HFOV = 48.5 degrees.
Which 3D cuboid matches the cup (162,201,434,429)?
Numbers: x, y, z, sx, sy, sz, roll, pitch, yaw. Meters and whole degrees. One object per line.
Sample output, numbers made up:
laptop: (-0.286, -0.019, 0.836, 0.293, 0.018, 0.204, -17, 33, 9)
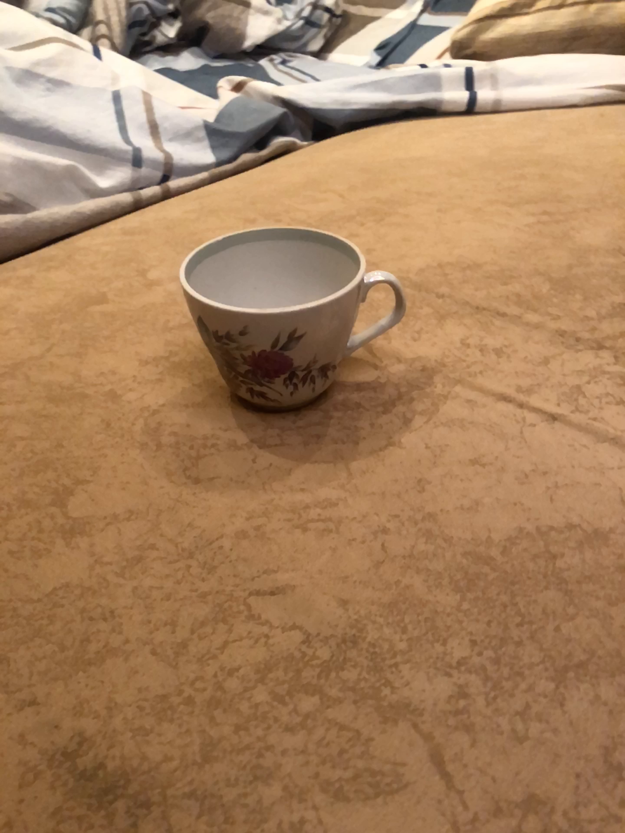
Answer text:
cup: (-0.011, -0.055, 0.345, 0.110, 0.060, 0.090, -11, 39, -10)
